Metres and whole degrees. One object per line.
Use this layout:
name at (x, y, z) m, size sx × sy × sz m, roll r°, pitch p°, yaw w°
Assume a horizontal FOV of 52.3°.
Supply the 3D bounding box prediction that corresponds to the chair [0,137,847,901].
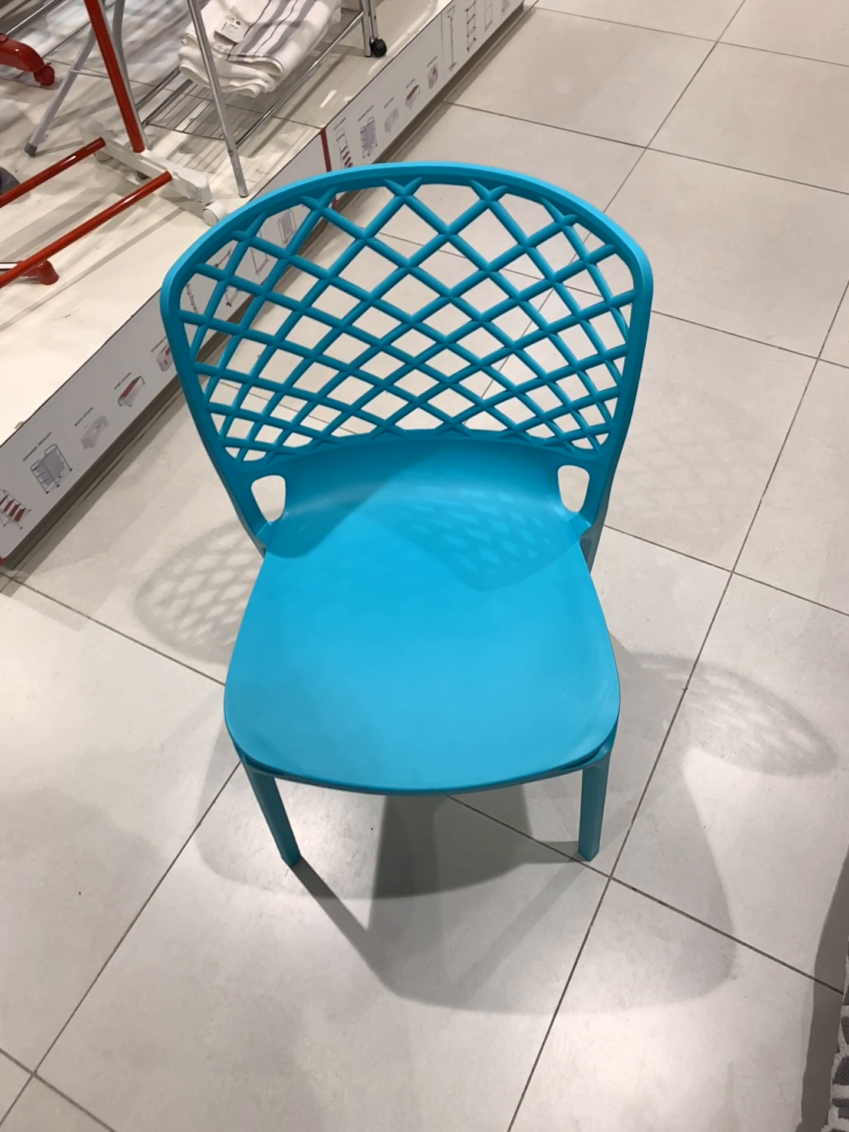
chair at (0.012, 0.030, 1.041) m, size 0.560 × 0.798 × 0.521 m, roll -2°, pitch 56°, yaw 3°
